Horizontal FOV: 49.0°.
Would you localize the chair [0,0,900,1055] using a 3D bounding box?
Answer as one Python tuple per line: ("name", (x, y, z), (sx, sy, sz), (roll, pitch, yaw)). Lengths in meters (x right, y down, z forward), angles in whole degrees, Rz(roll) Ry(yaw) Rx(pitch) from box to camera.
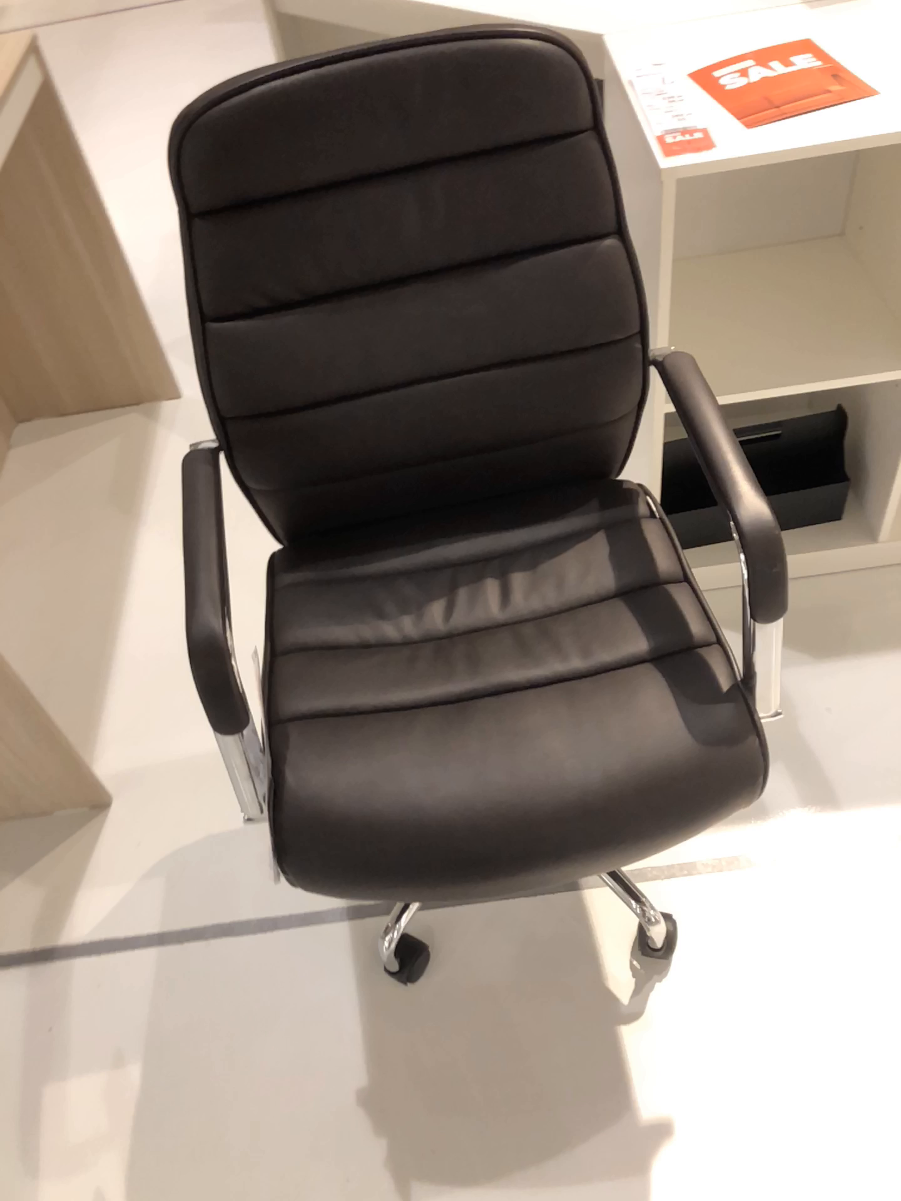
("chair", (0.021, -0.026, 1.046), (0.650, 0.974, 0.574), (-11, 49, 0))
